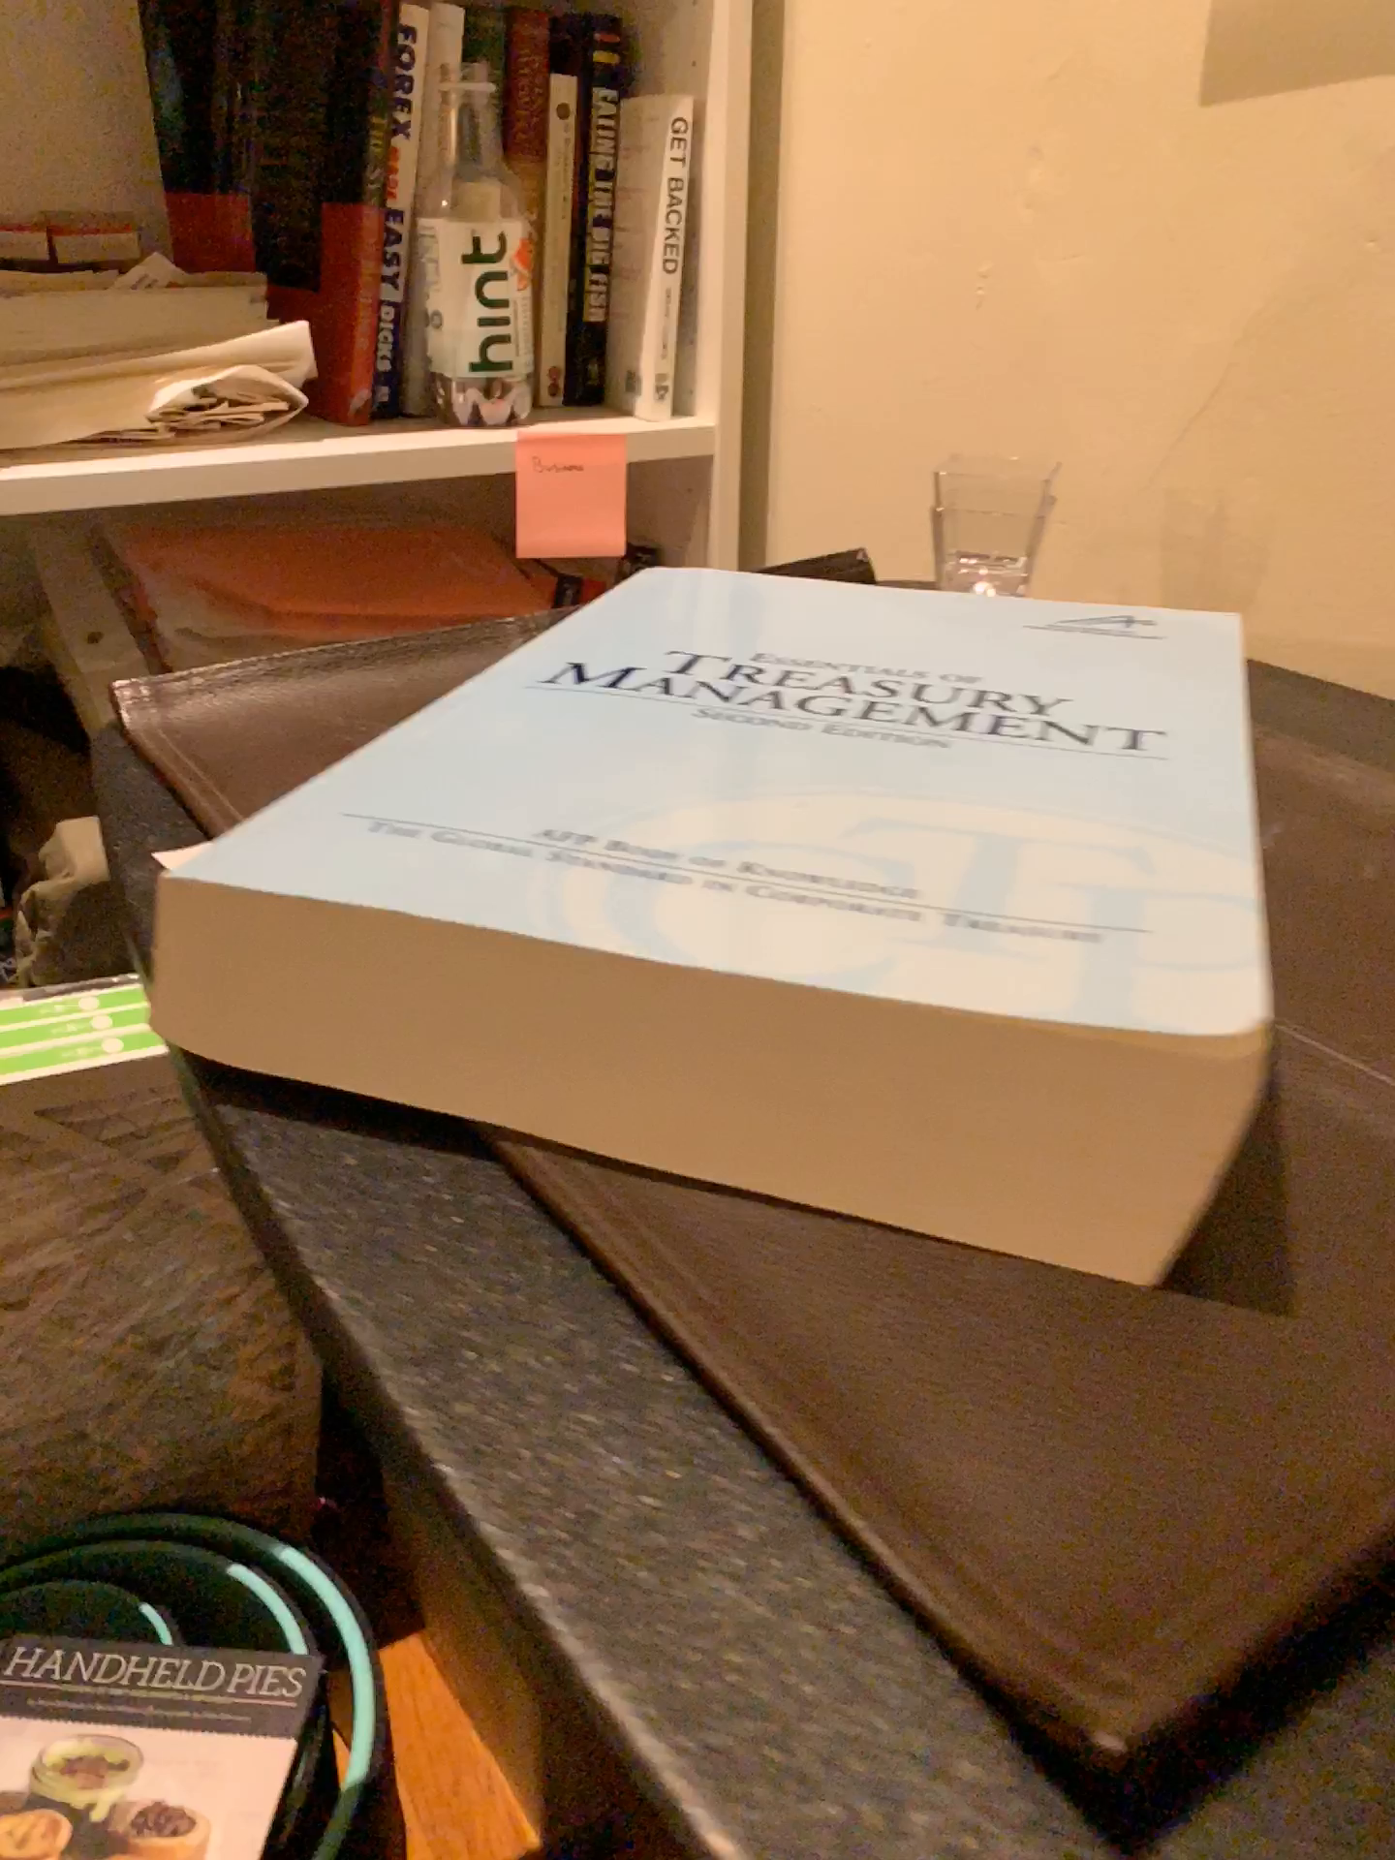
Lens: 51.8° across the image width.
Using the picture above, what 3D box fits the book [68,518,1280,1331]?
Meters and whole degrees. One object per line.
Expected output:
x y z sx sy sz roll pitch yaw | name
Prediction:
0.032 -0.043 0.385 0.220 0.060 0.301 10 29 17 | book
